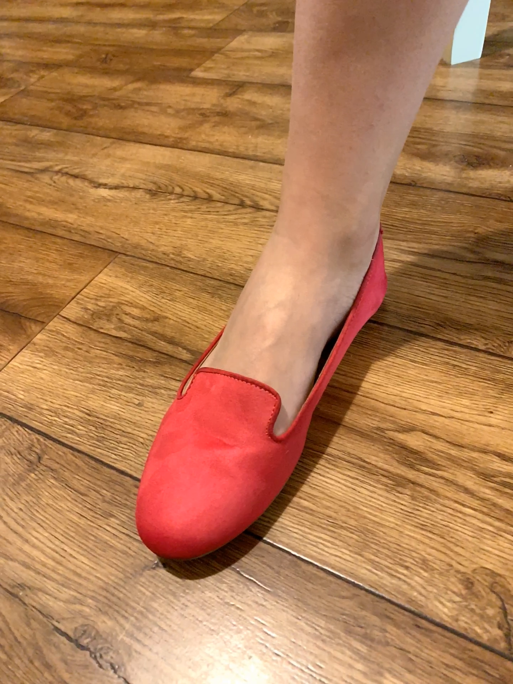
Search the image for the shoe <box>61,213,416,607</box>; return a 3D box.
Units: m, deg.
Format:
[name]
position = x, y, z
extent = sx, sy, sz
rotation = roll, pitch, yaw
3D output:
[shoe]
position = 0.007, 0.019, 0.308
extent = 0.087, 0.060, 0.220
rotation = 21, 55, 27
